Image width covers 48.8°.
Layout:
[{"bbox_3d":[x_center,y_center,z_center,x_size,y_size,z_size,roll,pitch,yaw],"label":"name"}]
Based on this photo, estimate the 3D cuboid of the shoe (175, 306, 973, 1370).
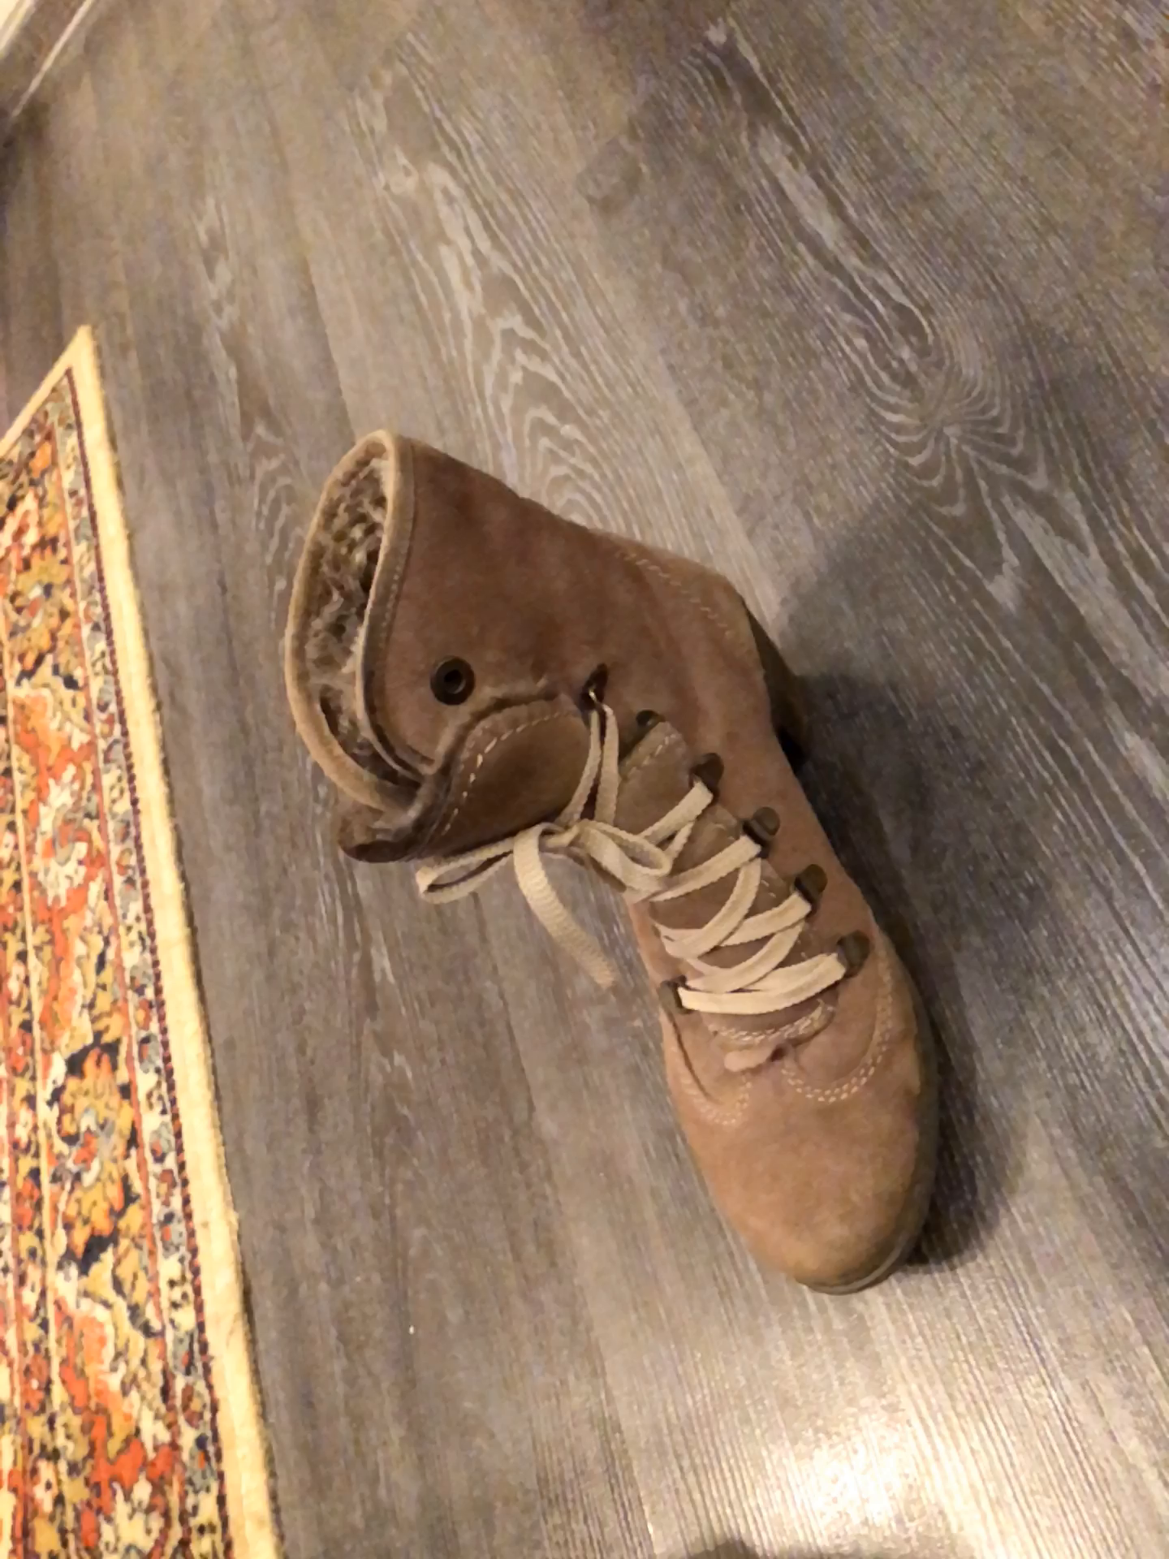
[{"bbox_3d":[0.000,0.030,0.373,0.100,0.189,0.241,-23,61,37],"label":"shoe"}]
